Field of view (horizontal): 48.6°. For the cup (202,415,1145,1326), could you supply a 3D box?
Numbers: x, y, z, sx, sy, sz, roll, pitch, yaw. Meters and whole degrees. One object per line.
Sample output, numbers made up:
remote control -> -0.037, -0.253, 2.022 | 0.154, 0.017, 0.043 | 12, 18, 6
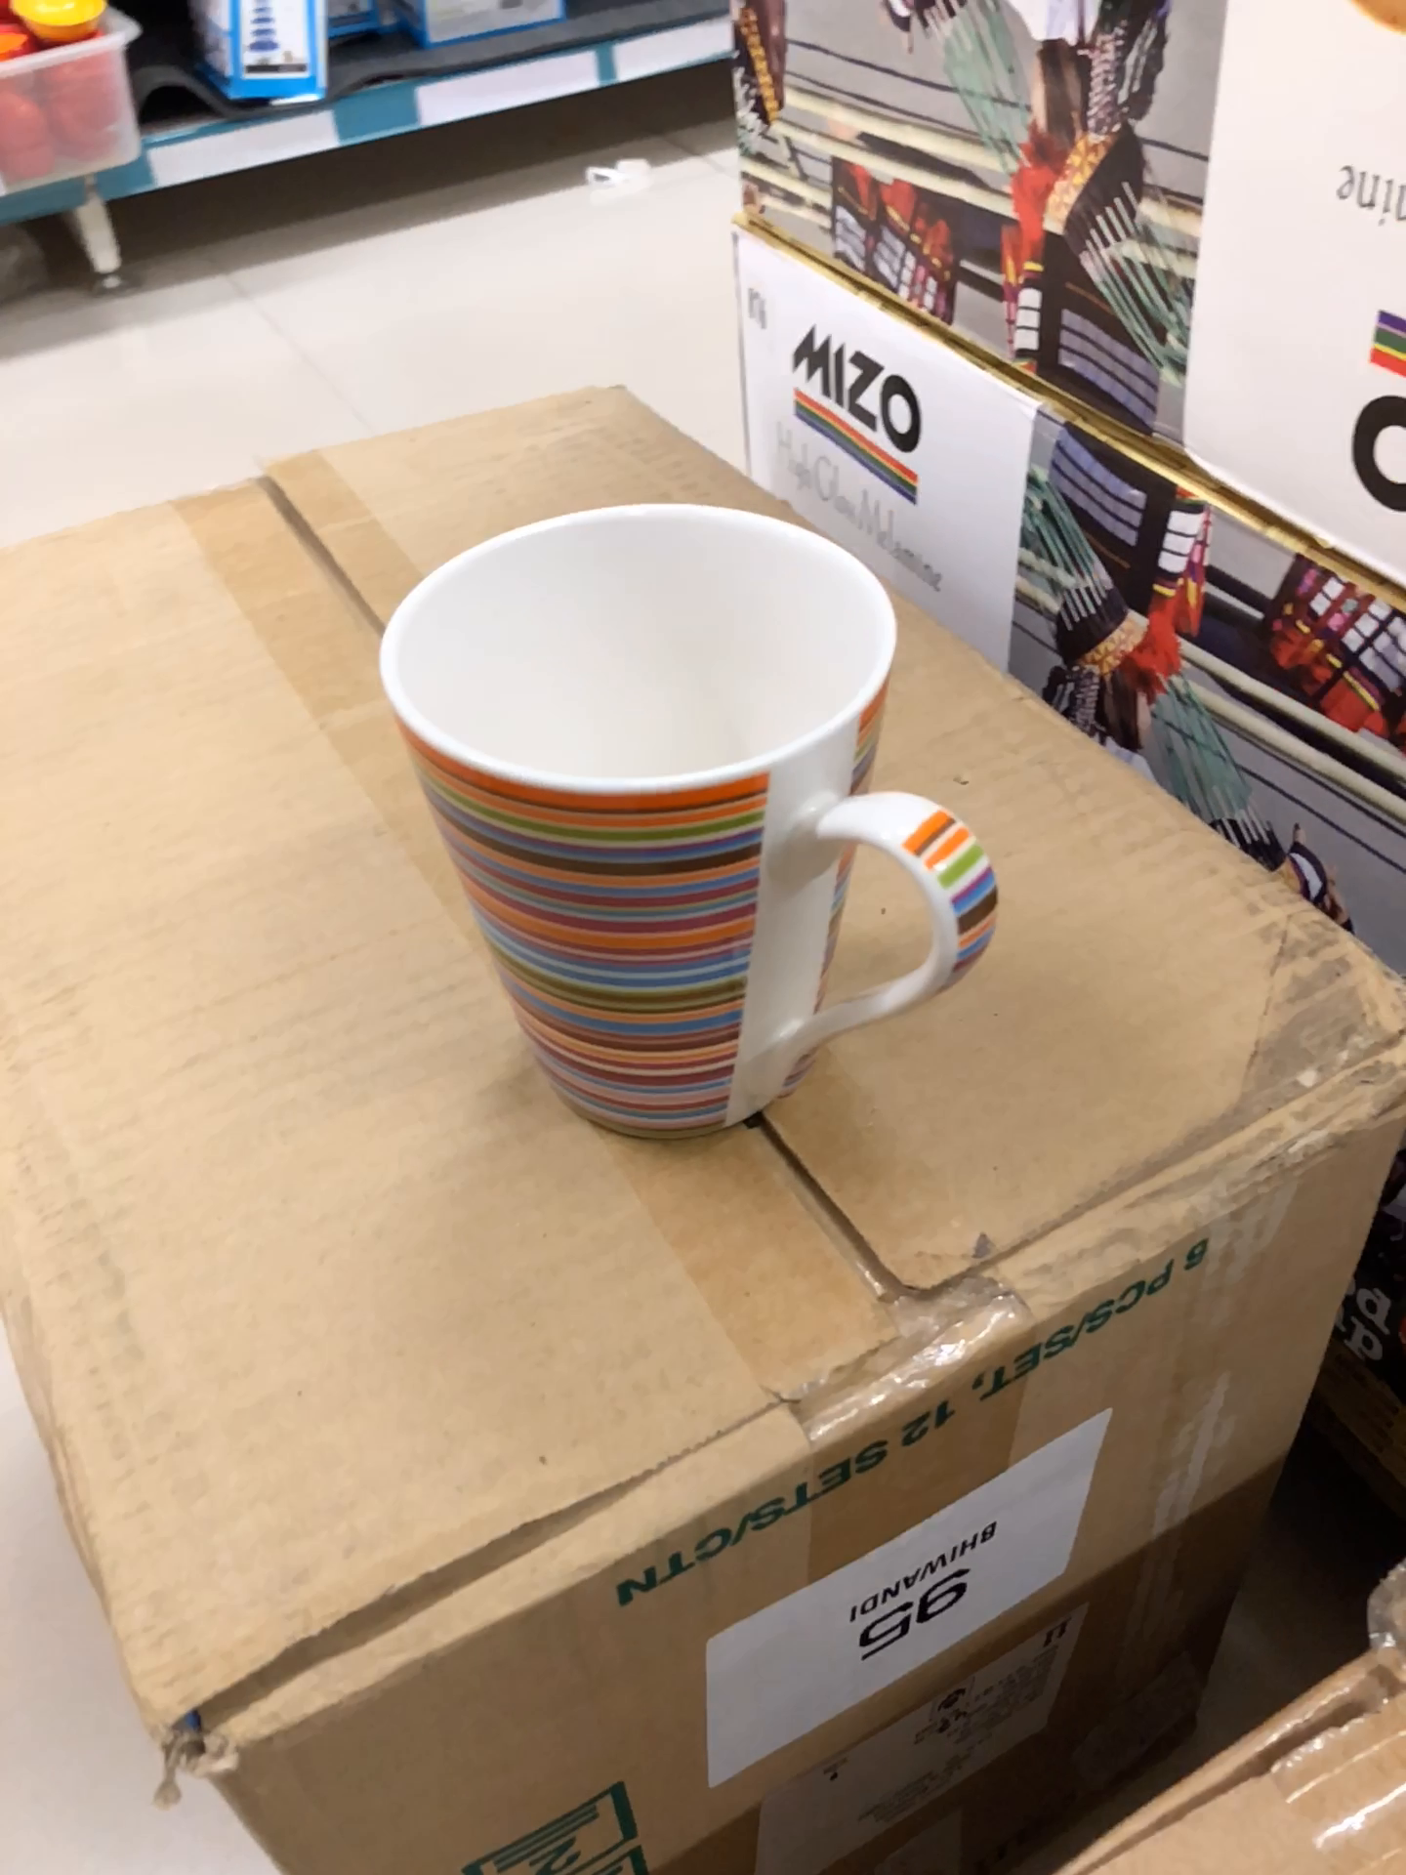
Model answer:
cup -> -0.006, -0.019, 0.276 | 0.130, 0.089, 0.080 | 30, 53, 32
